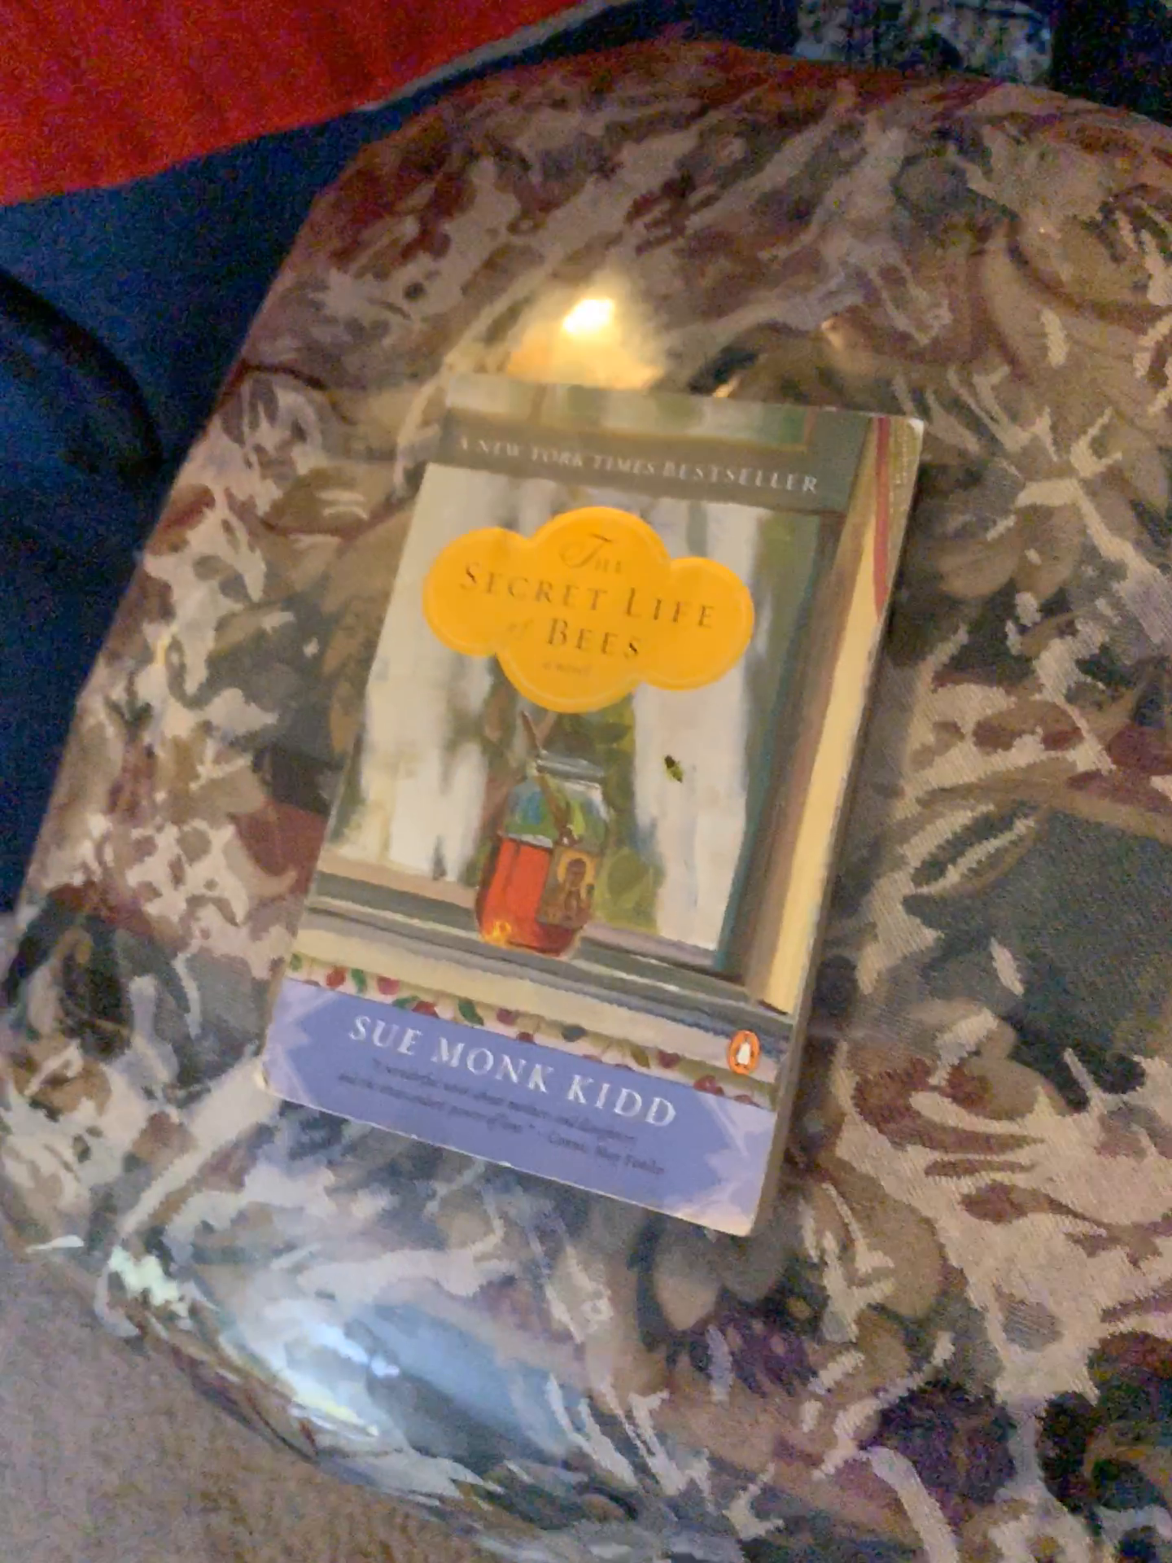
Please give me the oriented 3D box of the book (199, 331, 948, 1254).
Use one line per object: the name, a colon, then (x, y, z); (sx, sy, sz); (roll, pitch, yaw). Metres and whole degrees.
book: (0.001, -0.009, 0.313); (0.140, 0.040, 0.210); (10, 78, 21)
